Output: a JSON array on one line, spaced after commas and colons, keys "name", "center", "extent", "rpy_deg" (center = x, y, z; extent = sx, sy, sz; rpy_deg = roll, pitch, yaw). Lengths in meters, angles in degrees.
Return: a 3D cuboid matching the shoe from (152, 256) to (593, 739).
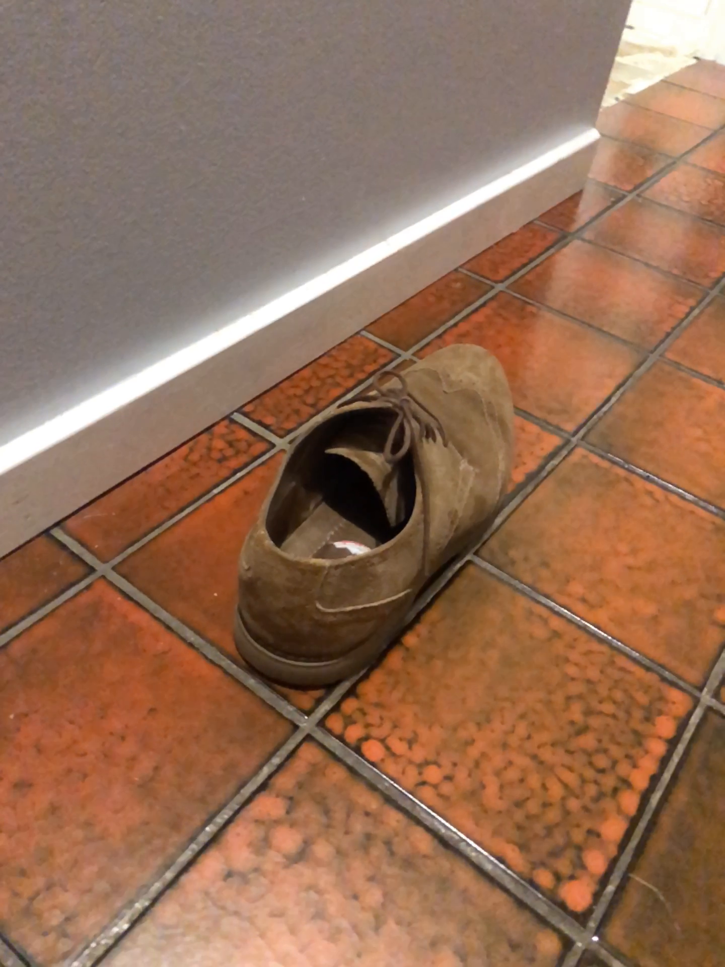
[{"name": "shoe", "center": [0.023, -0.017, 0.484], "extent": [0.120, 0.100, 0.301], "rpy_deg": [25, 46, 17]}]
